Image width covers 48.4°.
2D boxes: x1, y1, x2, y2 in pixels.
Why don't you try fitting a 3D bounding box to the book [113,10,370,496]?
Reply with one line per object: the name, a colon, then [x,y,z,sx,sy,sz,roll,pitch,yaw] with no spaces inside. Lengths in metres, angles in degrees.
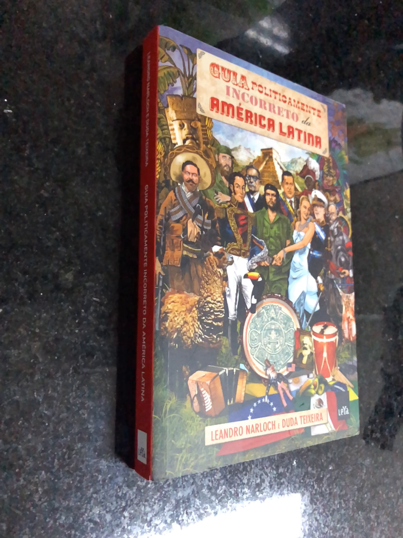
book: [0.029,-0.008,0.260,0.151,0.040,0.220,5,81,-35]
